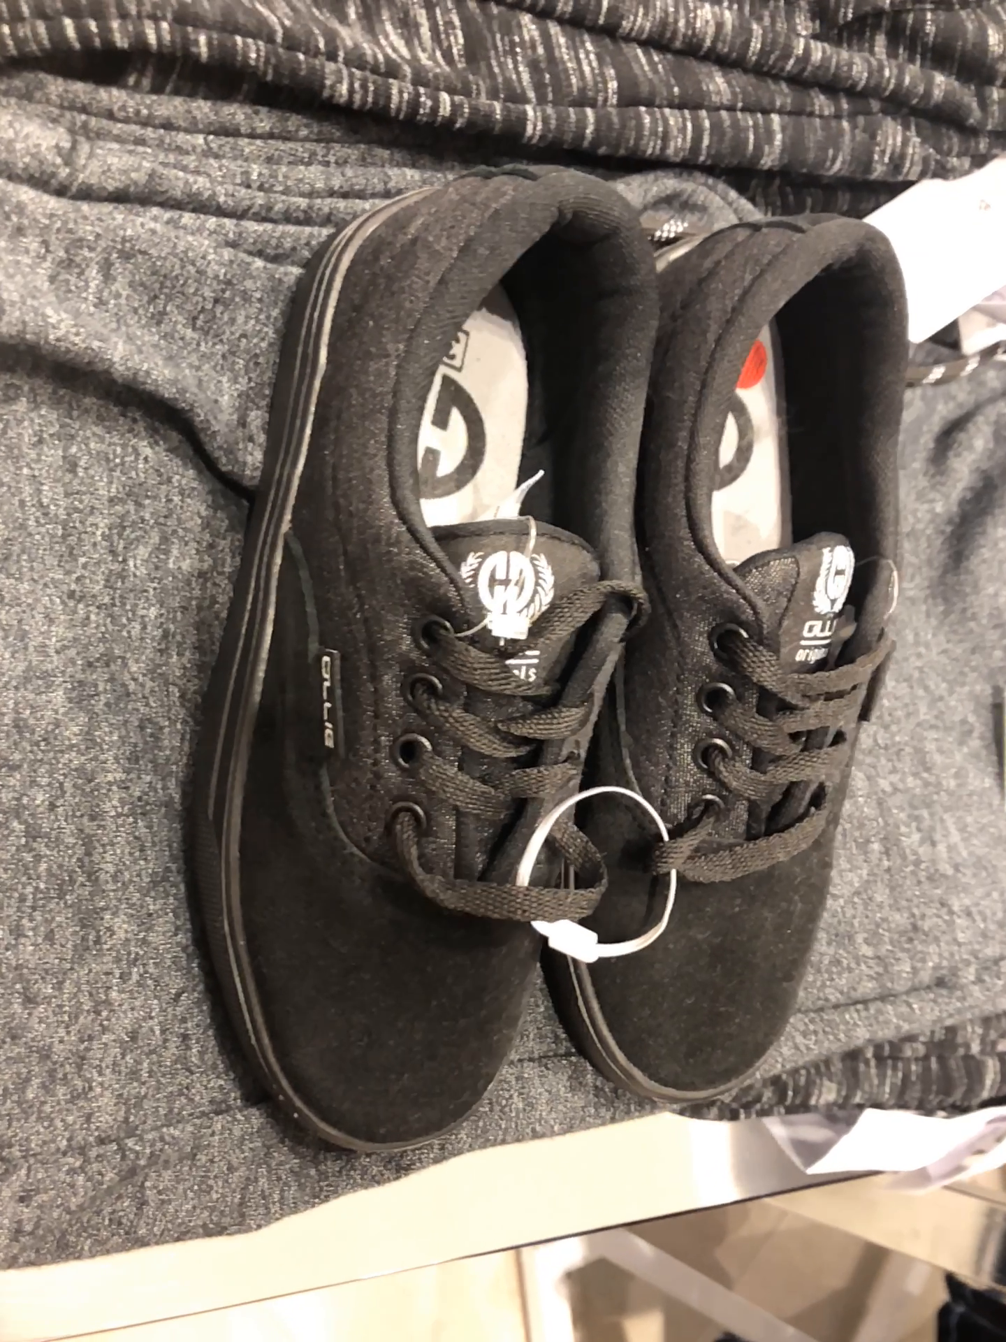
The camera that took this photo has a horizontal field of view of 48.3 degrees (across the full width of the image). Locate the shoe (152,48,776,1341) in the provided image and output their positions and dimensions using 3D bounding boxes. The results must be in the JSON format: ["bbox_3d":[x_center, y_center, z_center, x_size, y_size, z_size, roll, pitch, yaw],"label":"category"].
[{"bbox_3d":[-0.009,0.007,0.244,0.090,0.080,0.220,7,85,-29],"label":"shoe"}]

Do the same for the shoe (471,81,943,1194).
[{"bbox_3d":[0.053,-0.007,0.299,0.090,0.080,0.240,3,87,-30],"label":"shoe"}]
